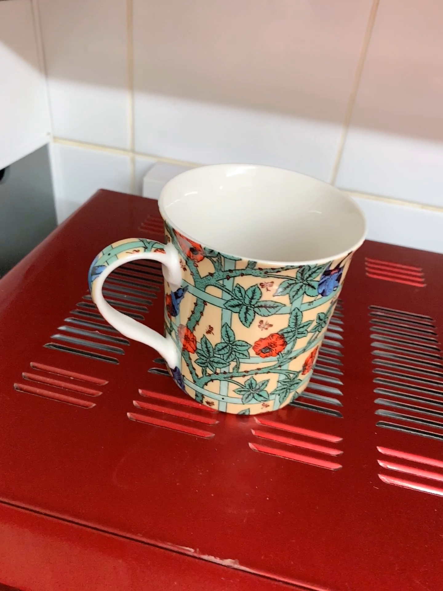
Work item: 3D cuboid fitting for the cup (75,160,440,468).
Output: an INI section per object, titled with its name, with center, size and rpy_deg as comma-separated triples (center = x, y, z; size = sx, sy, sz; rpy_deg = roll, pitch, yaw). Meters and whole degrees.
[cup]
center = 0.004, 0.000, 0.189
size = 0.110, 0.079, 0.081
rpy_deg = -7, 39, -18
